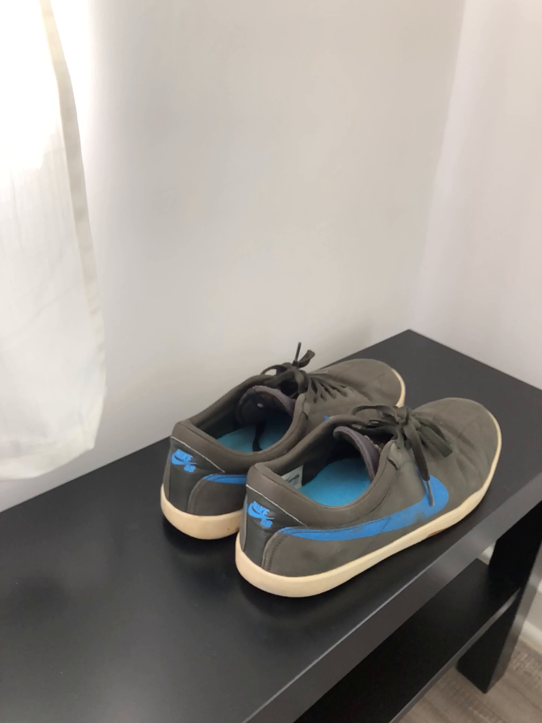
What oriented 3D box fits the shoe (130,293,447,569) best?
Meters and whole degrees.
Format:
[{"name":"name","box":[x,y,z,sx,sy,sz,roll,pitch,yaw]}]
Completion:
[{"name":"shoe","box":[0.027,0.041,0.529,0.280,0.110,0.100,-24,39,-38]}]

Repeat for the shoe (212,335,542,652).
[{"name":"shoe","box":[0.097,0.084,0.480,0.280,0.110,0.100,-20,37,-35]}]
